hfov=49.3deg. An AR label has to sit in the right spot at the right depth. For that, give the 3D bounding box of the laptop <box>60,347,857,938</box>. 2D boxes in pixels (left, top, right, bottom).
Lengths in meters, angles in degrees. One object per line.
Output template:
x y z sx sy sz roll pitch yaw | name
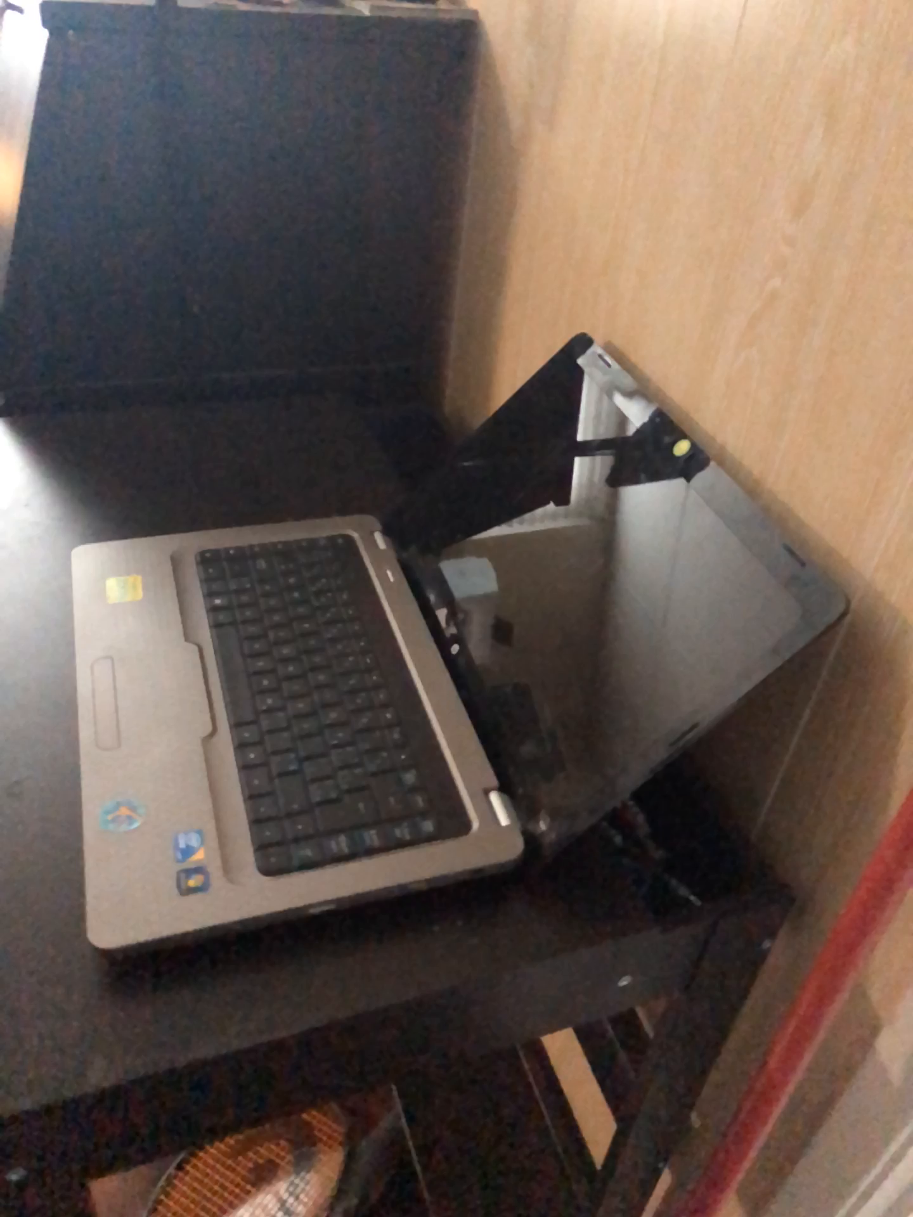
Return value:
-0.037 -0.020 0.665 0.401 0.166 0.358 -7 38 -18 | laptop
